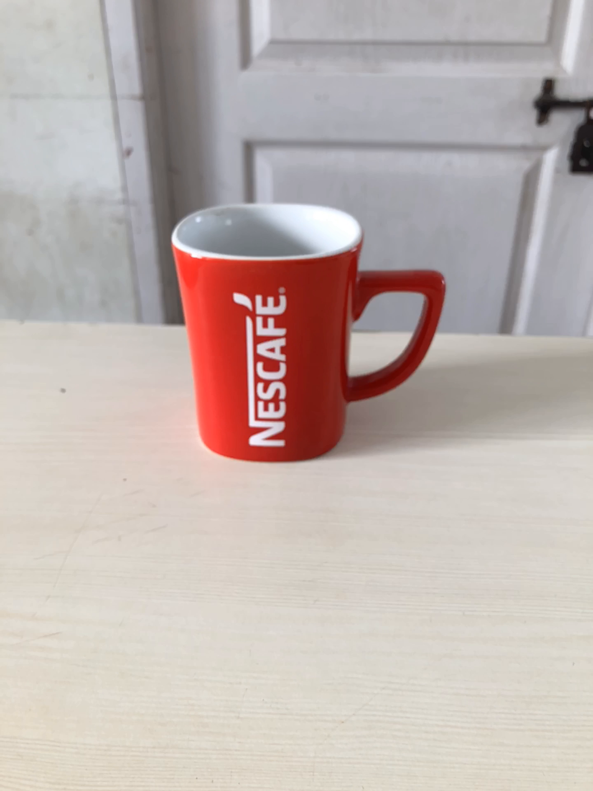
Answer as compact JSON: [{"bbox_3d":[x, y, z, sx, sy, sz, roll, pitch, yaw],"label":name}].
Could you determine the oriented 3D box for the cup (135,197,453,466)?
[{"bbox_3d":[-0.001,-0.030,0.288,0.110,0.089,0.081,0,30,0],"label":"cup"}]
